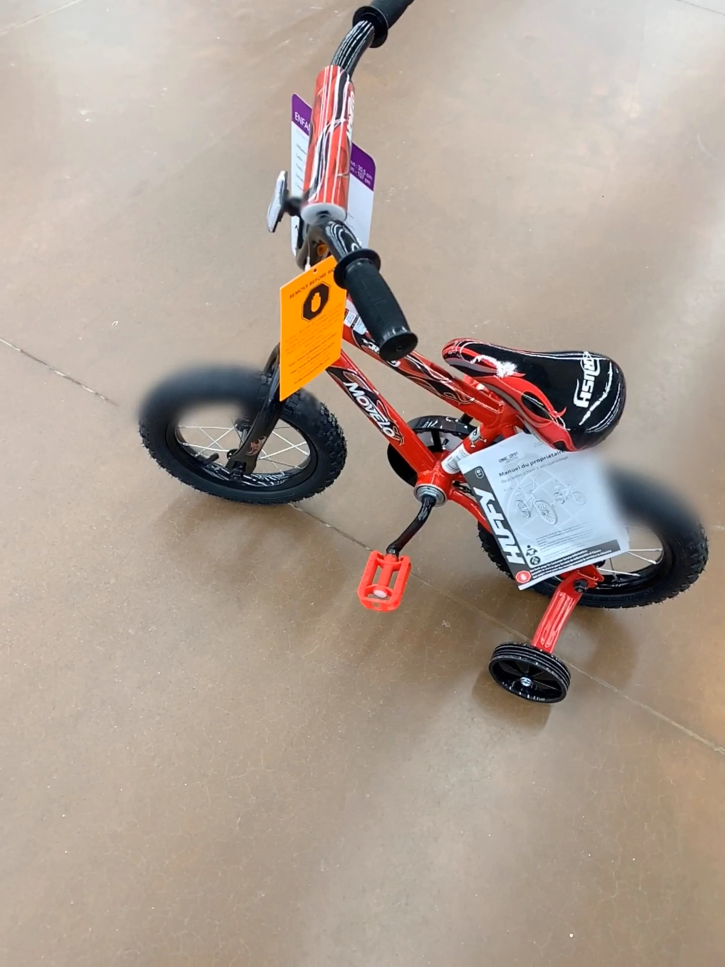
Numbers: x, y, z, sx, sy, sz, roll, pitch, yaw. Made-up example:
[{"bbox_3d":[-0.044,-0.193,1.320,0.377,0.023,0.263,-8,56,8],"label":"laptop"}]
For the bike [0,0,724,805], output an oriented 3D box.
[{"bbox_3d":[0.078,-0.083,0.739,0.703,0.627,0.459,16,53,1],"label":"bike"}]
